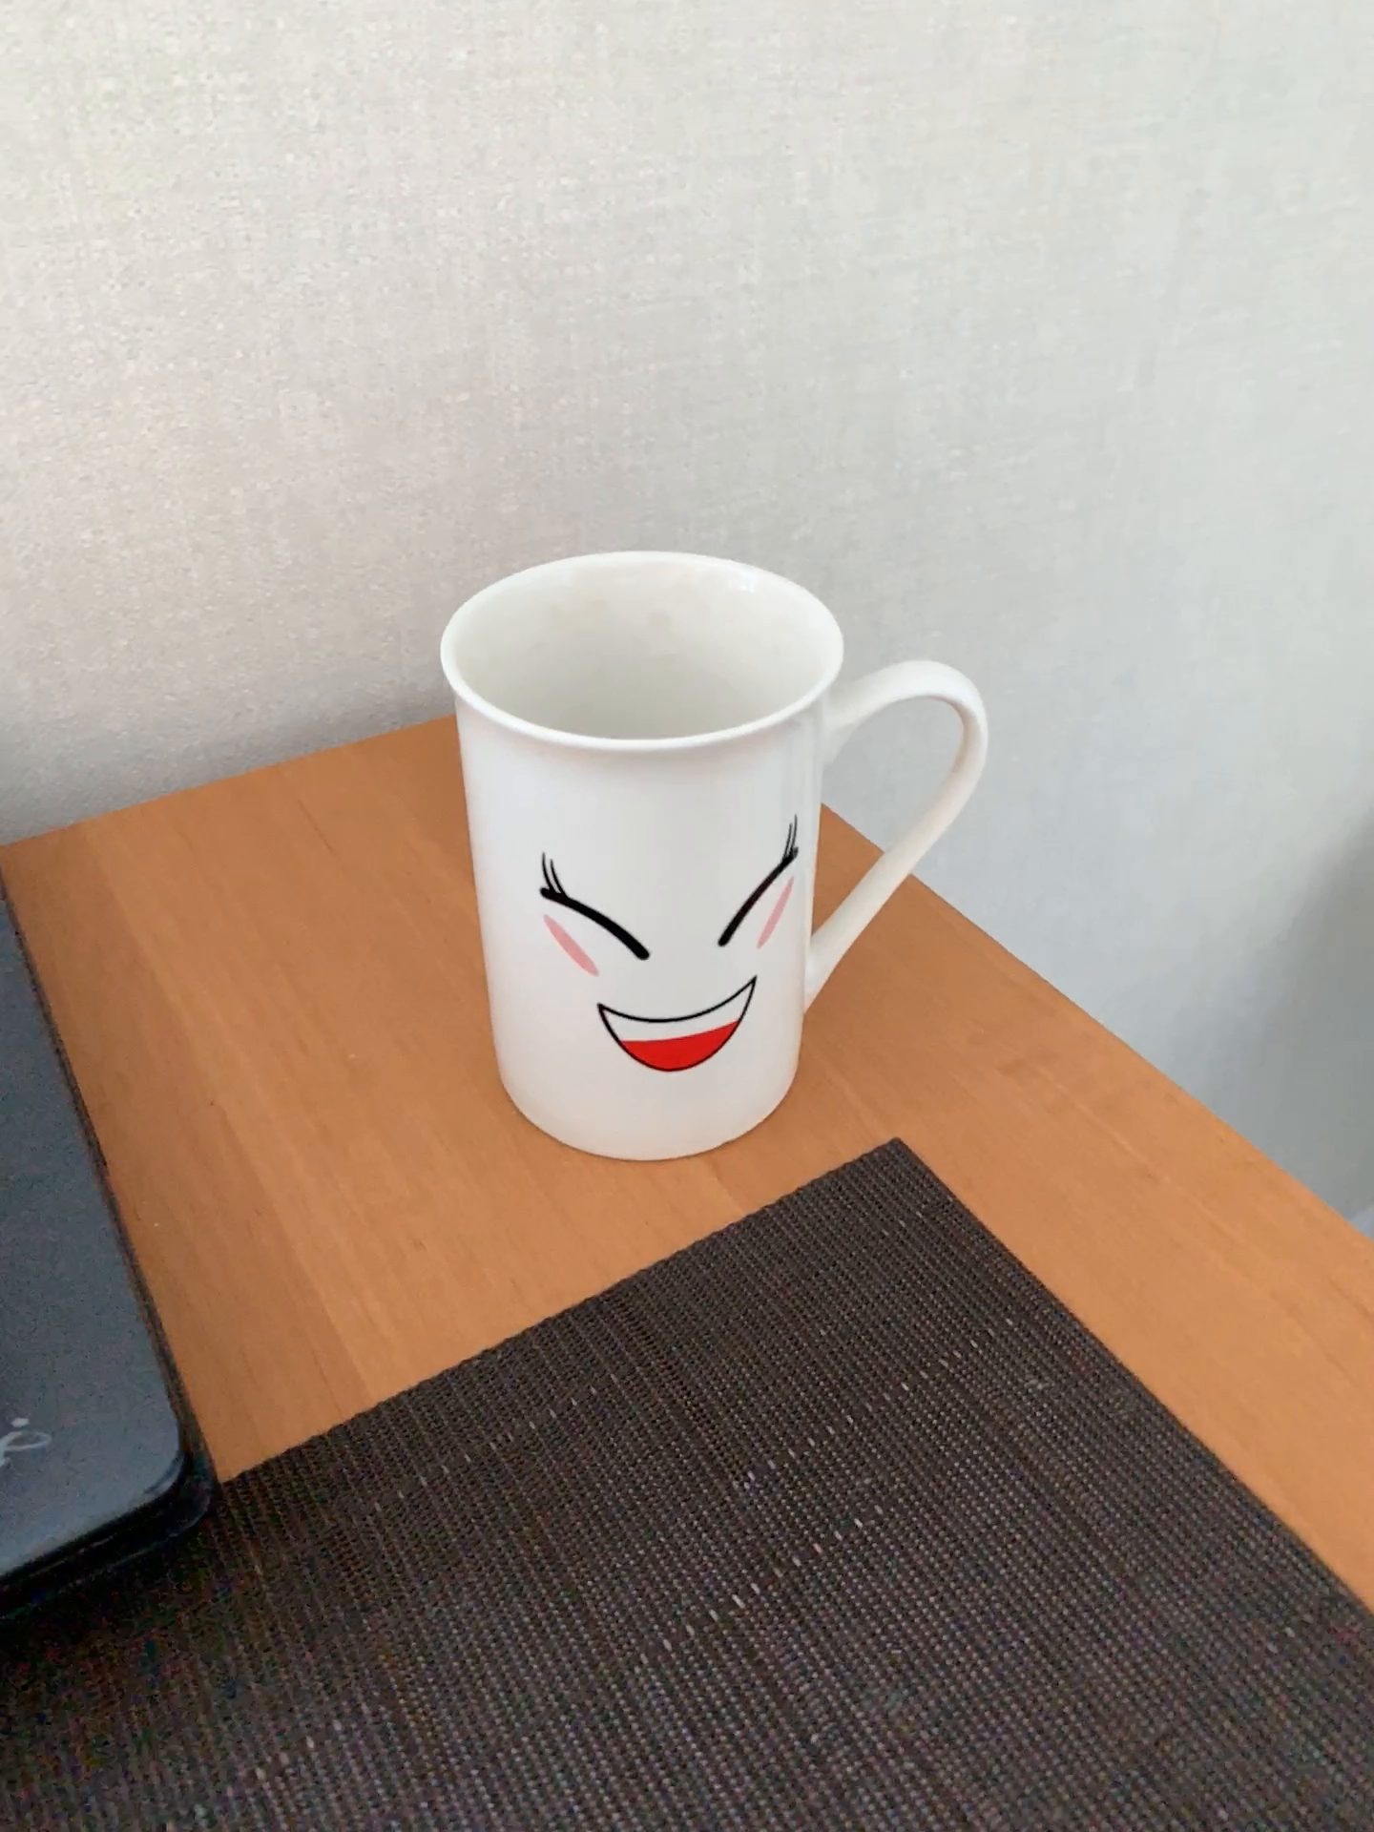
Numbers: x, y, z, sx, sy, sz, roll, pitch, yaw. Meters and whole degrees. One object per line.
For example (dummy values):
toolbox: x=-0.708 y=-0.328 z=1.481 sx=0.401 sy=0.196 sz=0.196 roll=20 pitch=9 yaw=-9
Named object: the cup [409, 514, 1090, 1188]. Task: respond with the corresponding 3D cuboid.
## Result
cup: x=0.006 y=-0.016 z=0.286 sx=0.107 sy=0.095 sz=0.080 roll=-8 pitch=37 yaw=-10
